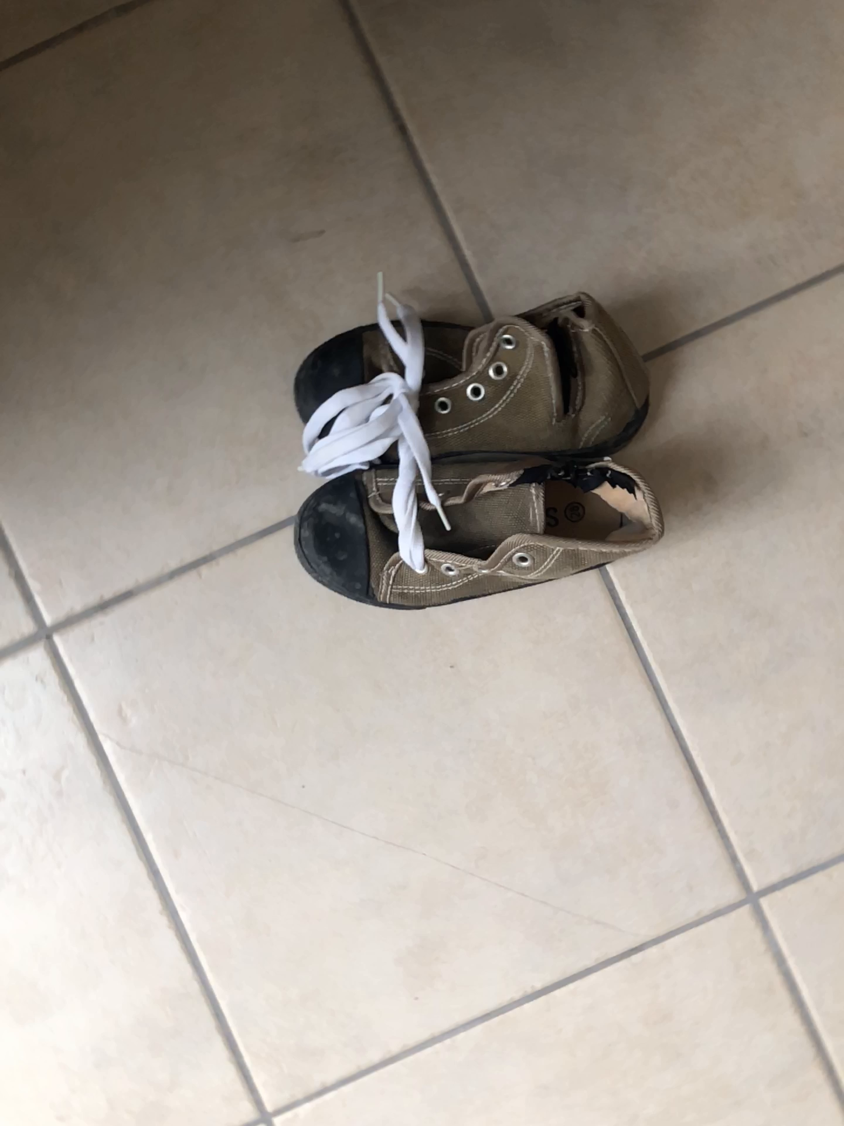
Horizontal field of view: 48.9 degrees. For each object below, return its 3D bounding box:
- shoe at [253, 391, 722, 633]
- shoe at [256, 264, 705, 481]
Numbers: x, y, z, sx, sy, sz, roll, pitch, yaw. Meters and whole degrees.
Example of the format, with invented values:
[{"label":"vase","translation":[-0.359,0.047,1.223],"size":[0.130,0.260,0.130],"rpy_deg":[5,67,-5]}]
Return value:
[{"label":"shoe","translation":[0.030,-0.023,0.470],"size":[0.200,0.110,0.080],"rpy_deg":[-8,90,1]},{"label":"shoe","translation":[0.027,-0.091,0.475],"size":[0.200,0.110,0.080],"rpy_deg":[-2,90,1]}]
